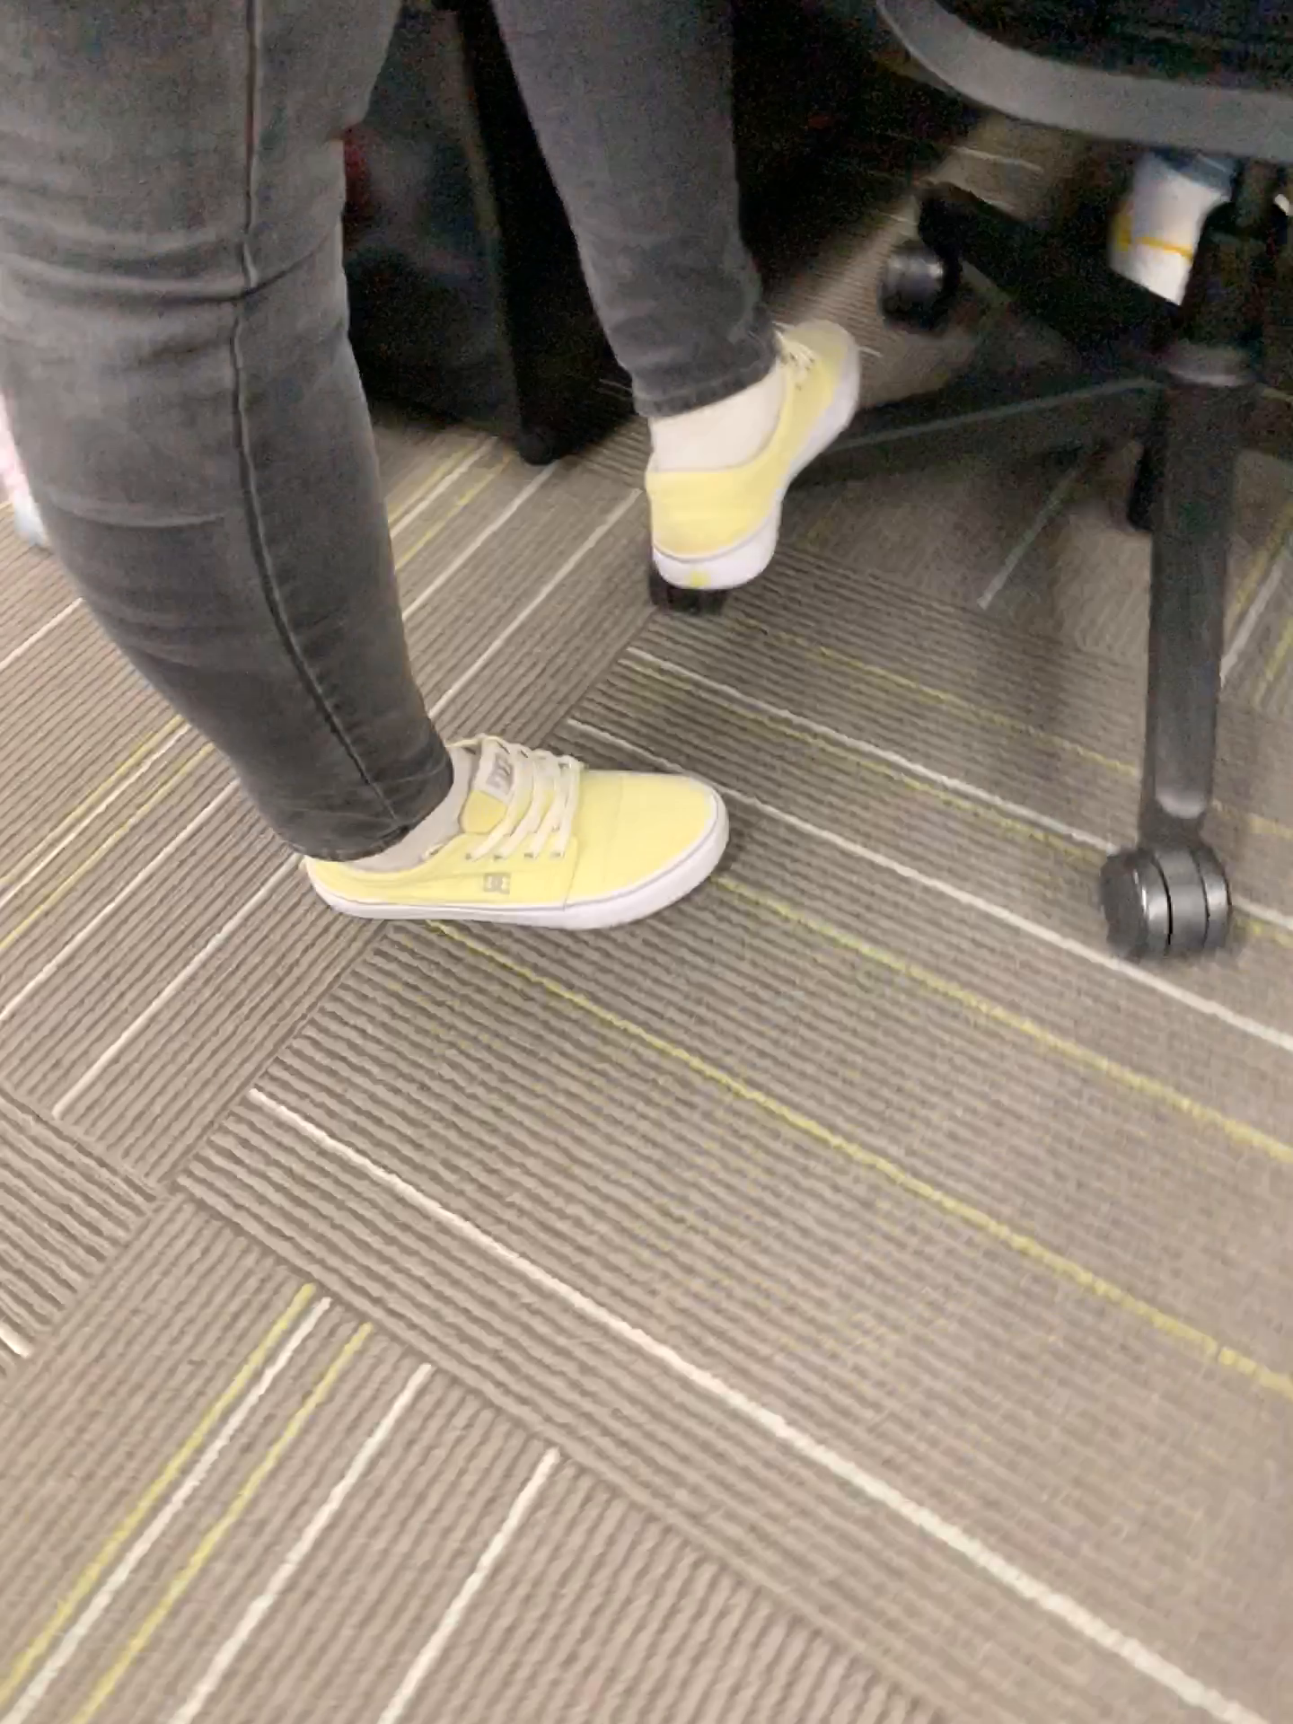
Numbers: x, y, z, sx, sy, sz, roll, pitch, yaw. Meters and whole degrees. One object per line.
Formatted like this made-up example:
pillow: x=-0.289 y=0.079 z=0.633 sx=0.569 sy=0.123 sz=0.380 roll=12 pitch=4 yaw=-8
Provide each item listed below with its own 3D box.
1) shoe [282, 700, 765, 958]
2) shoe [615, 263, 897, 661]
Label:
shoe: x=-0.067 y=-0.018 z=0.799 sx=0.268 sy=0.101 sz=0.102 roll=-3 pitch=54 yaw=3
shoe: x=0.076 y=-0.262 z=0.840 sx=0.098 sy=0.096 sz=0.260 roll=14 pitch=56 yaw=15
